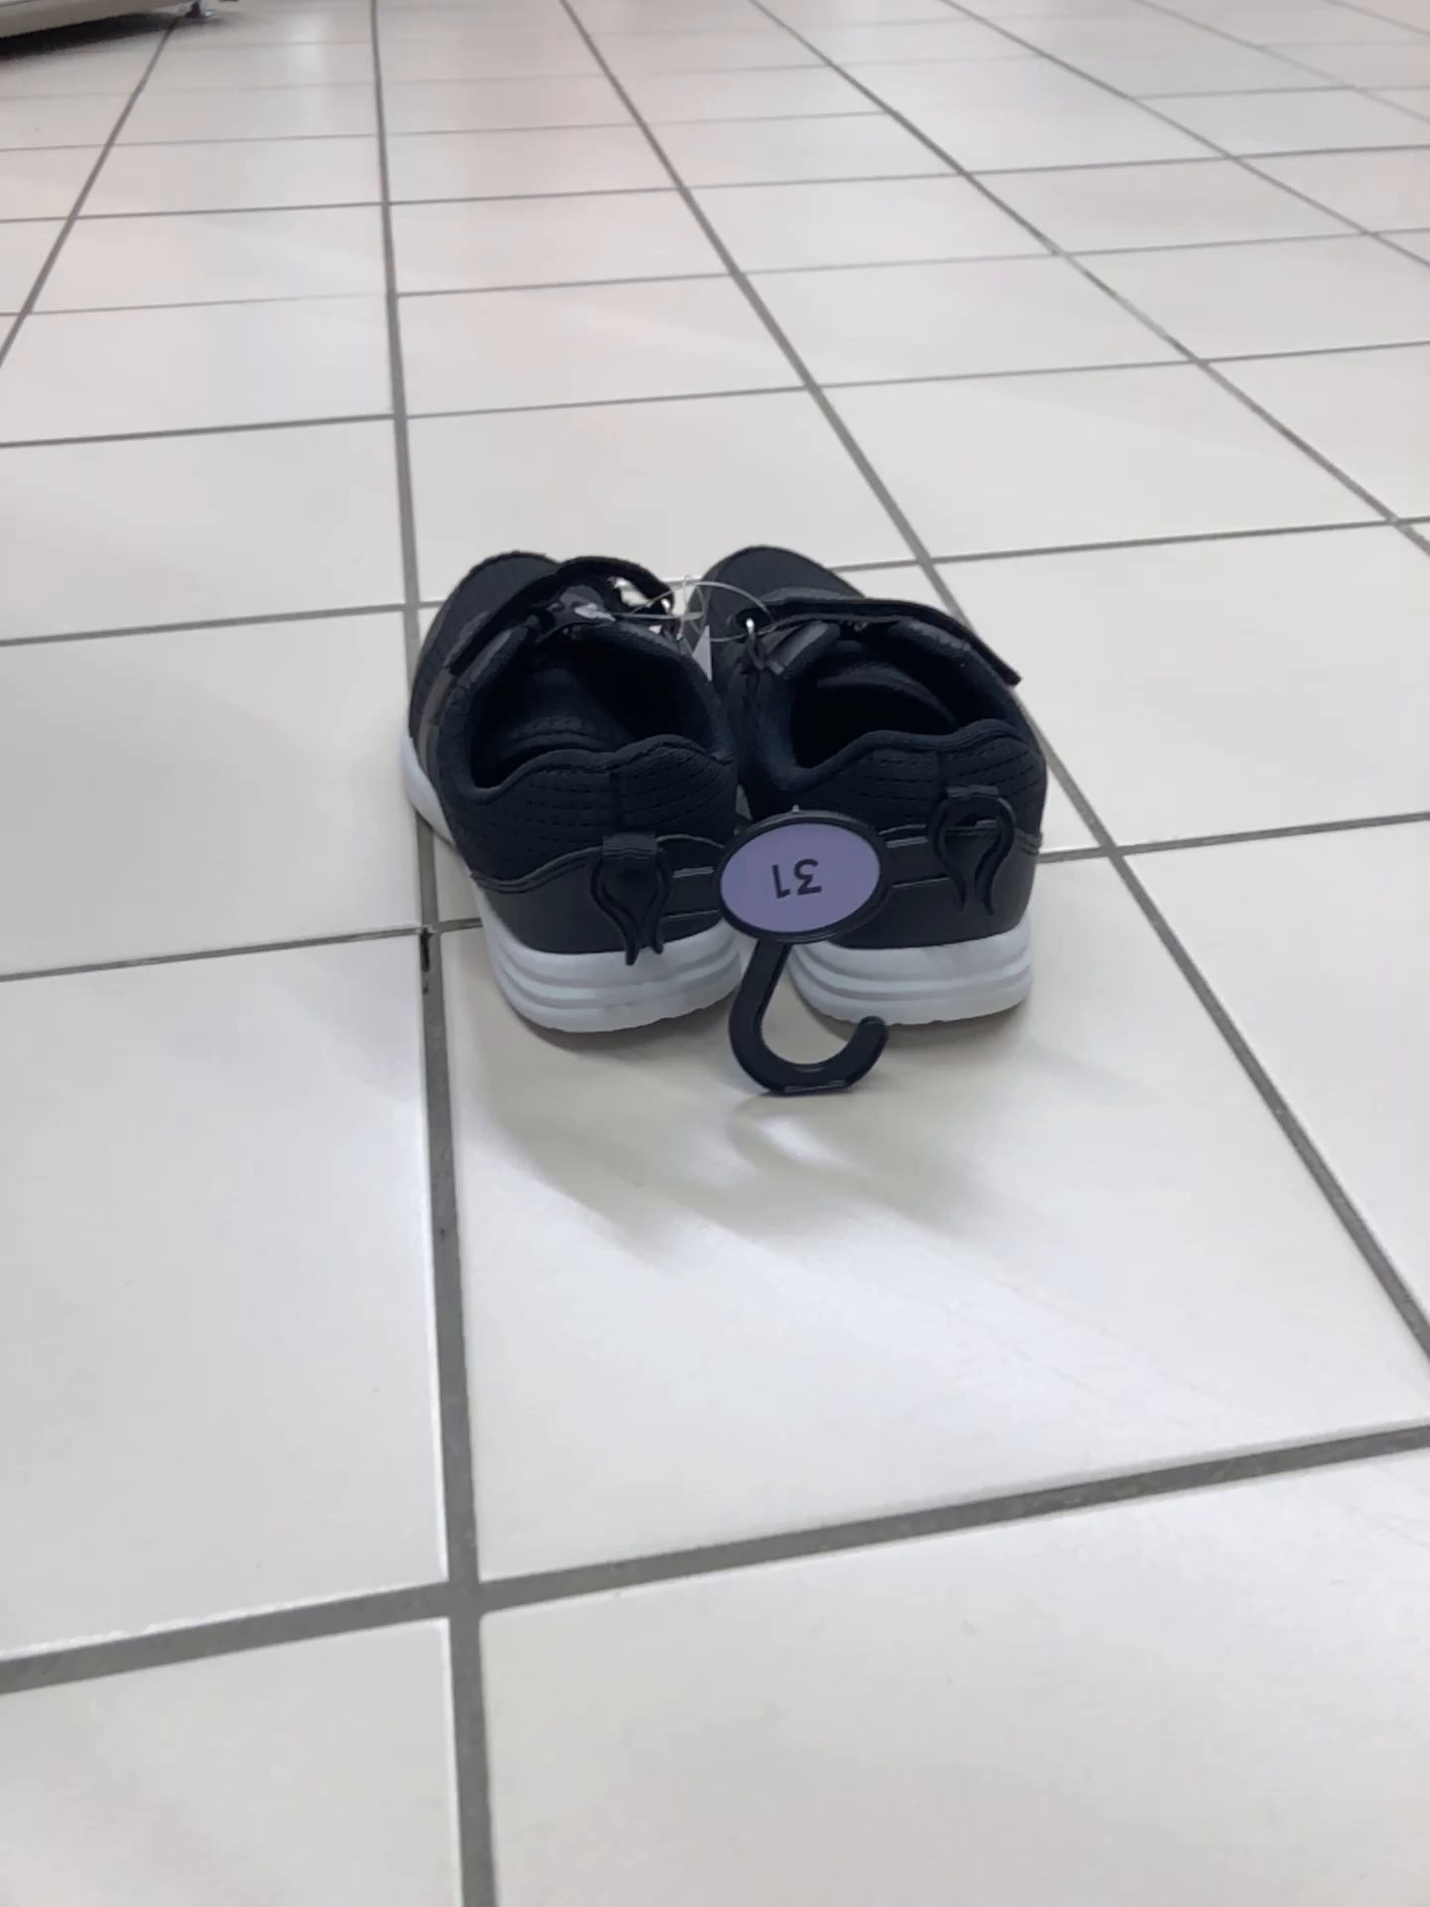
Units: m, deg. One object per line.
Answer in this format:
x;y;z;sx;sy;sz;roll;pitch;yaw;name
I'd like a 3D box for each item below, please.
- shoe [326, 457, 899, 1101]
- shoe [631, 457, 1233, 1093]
-0.040;-0.065;0.451;0.098;0.064;0.223;-13;40;-15;shoe
0.045;-0.066;0.451;0.097;0.064;0.223;-8;39;-10;shoe
